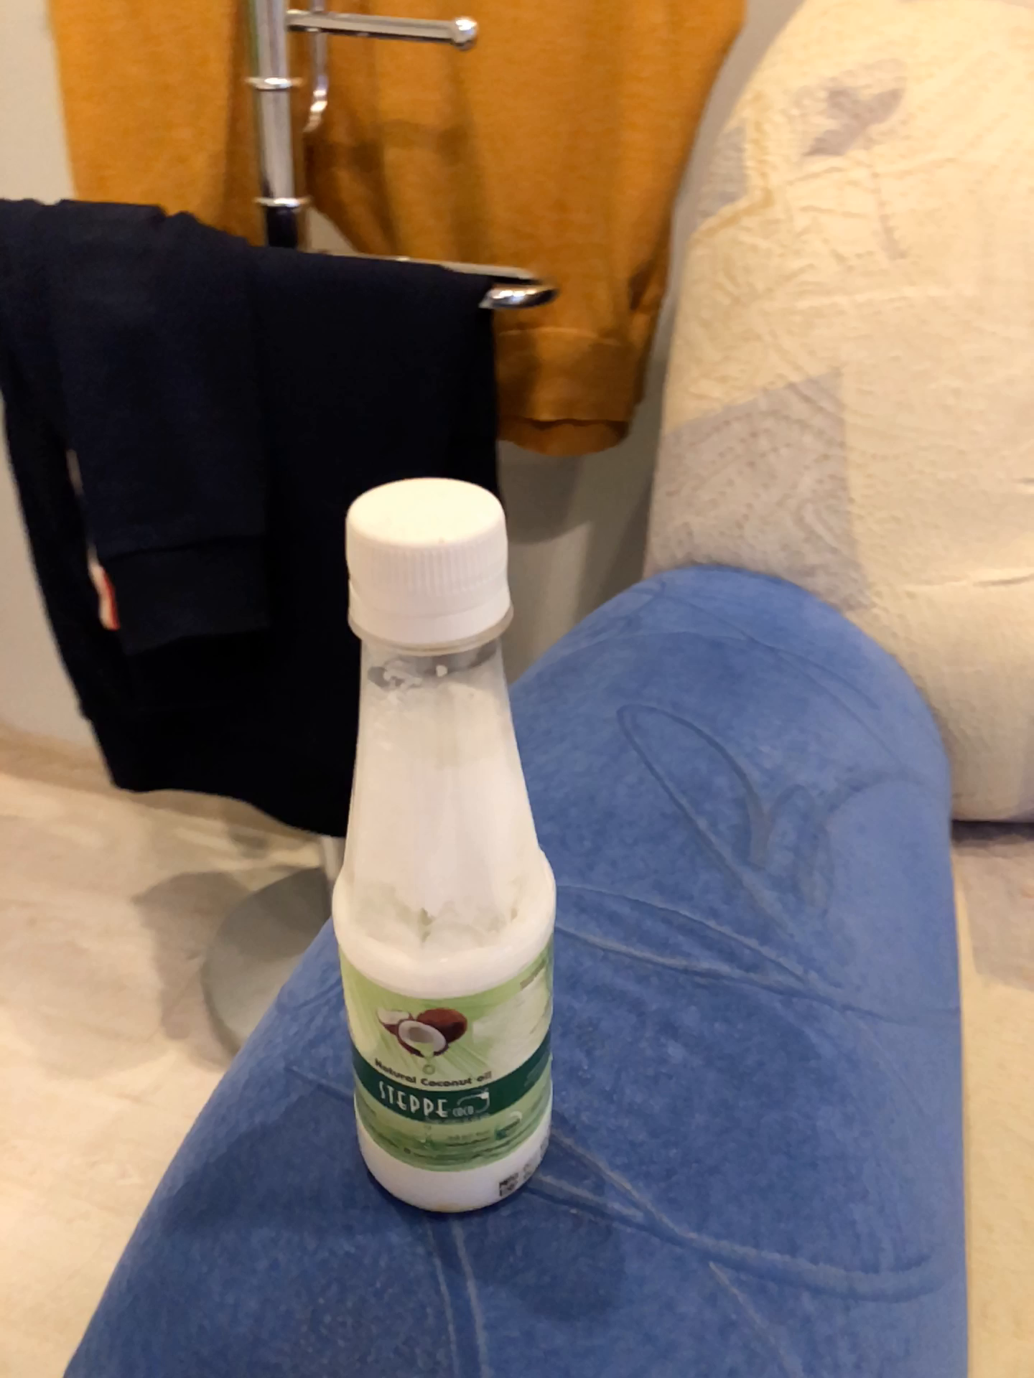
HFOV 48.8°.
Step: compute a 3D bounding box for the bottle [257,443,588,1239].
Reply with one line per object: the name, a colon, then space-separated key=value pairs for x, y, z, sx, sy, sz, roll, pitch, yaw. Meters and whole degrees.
bottle: x=-0.016 y=0.043 z=0.261 sx=0.050 sy=0.183 sz=0.054 roll=1 pitch=32 yaw=0
